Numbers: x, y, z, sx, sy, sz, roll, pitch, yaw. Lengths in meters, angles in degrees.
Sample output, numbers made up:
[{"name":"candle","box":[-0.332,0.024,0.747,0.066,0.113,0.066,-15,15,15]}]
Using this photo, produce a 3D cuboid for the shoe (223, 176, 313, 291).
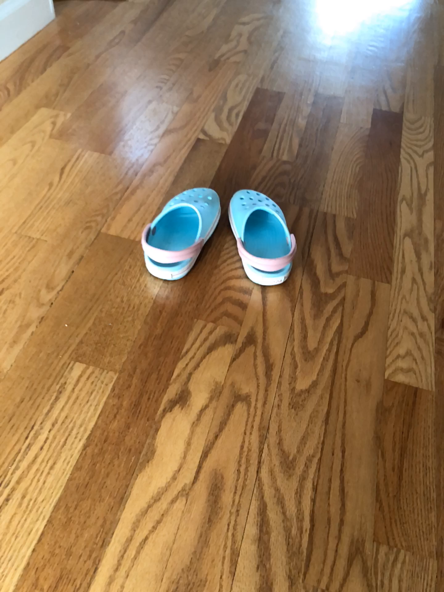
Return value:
[{"name":"shoe","box":[0.055,-0.088,0.655,0.083,0.048,0.166,-4,50,-8]}]

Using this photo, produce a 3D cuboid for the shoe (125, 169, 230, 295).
[{"name":"shoe","box":[-0.054,-0.089,0.652,0.083,0.057,0.166,15,50,8]}]
